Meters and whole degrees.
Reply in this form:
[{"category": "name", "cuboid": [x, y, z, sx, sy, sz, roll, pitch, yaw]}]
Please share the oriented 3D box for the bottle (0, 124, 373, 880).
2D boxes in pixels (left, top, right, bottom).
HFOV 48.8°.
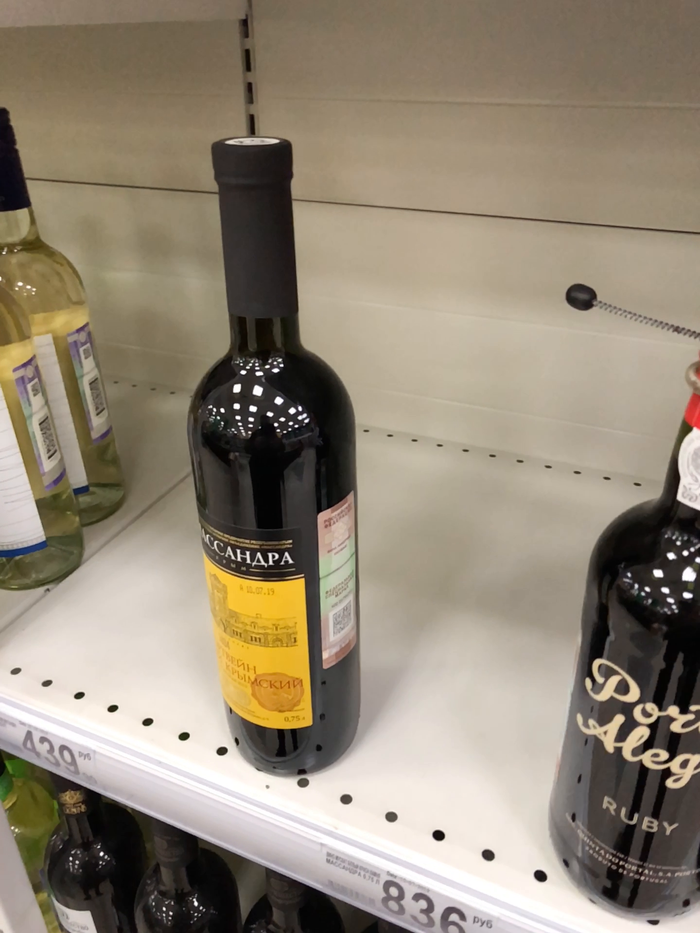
[{"category": "bottle", "cuboid": [-0.059, 0.028, 0.379, 0.100, 0.348, 0.100, -1, 29, 0]}]
